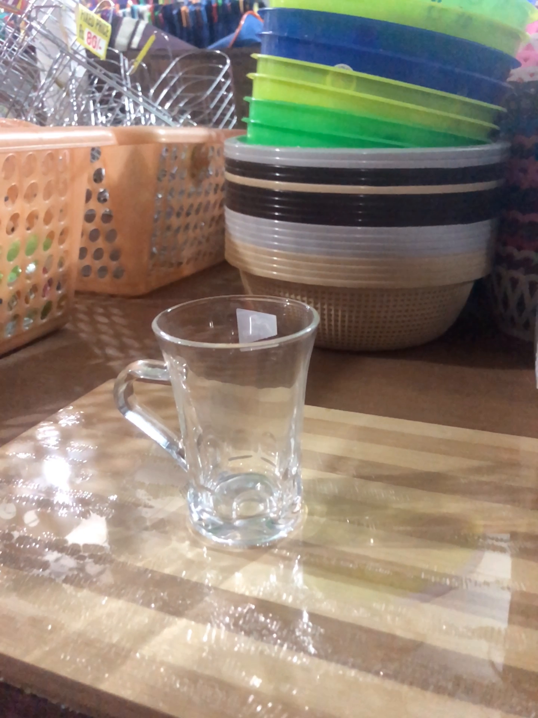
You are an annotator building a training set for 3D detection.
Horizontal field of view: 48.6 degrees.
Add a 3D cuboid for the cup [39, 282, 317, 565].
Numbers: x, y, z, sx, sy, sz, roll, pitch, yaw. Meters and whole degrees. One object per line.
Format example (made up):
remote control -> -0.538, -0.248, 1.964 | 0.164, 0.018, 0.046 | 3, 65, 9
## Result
cup -> -0.030, 0.021, 0.245 | 0.090, 0.090, 0.060 | 4, 21, 14
